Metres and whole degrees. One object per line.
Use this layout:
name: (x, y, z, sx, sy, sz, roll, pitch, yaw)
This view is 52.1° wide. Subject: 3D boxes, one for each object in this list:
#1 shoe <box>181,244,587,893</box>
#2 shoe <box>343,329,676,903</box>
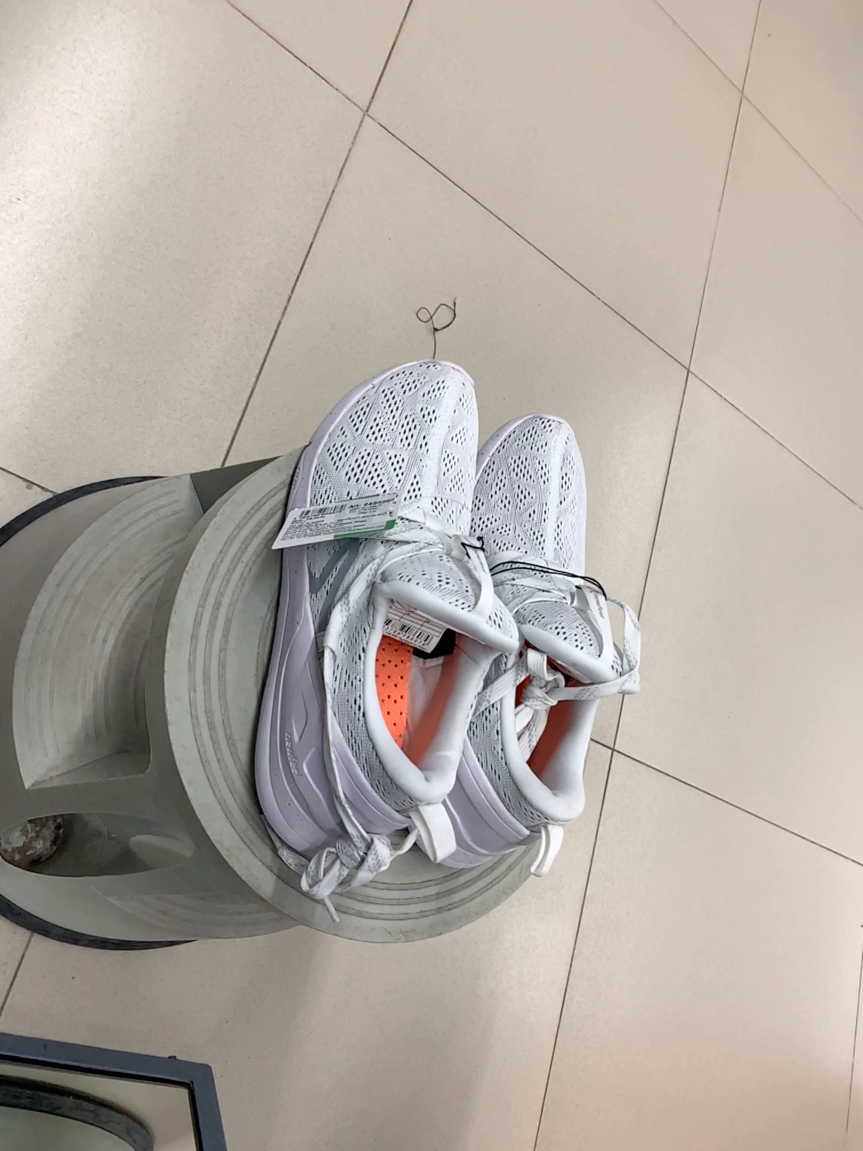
shoe: (-0.015, -0.003, 0.440, 0.110, 0.090, 0.280, 24, 68, -30)
shoe: (0.051, 0.021, 0.492, 0.110, 0.080, 0.280, 24, 68, -30)
